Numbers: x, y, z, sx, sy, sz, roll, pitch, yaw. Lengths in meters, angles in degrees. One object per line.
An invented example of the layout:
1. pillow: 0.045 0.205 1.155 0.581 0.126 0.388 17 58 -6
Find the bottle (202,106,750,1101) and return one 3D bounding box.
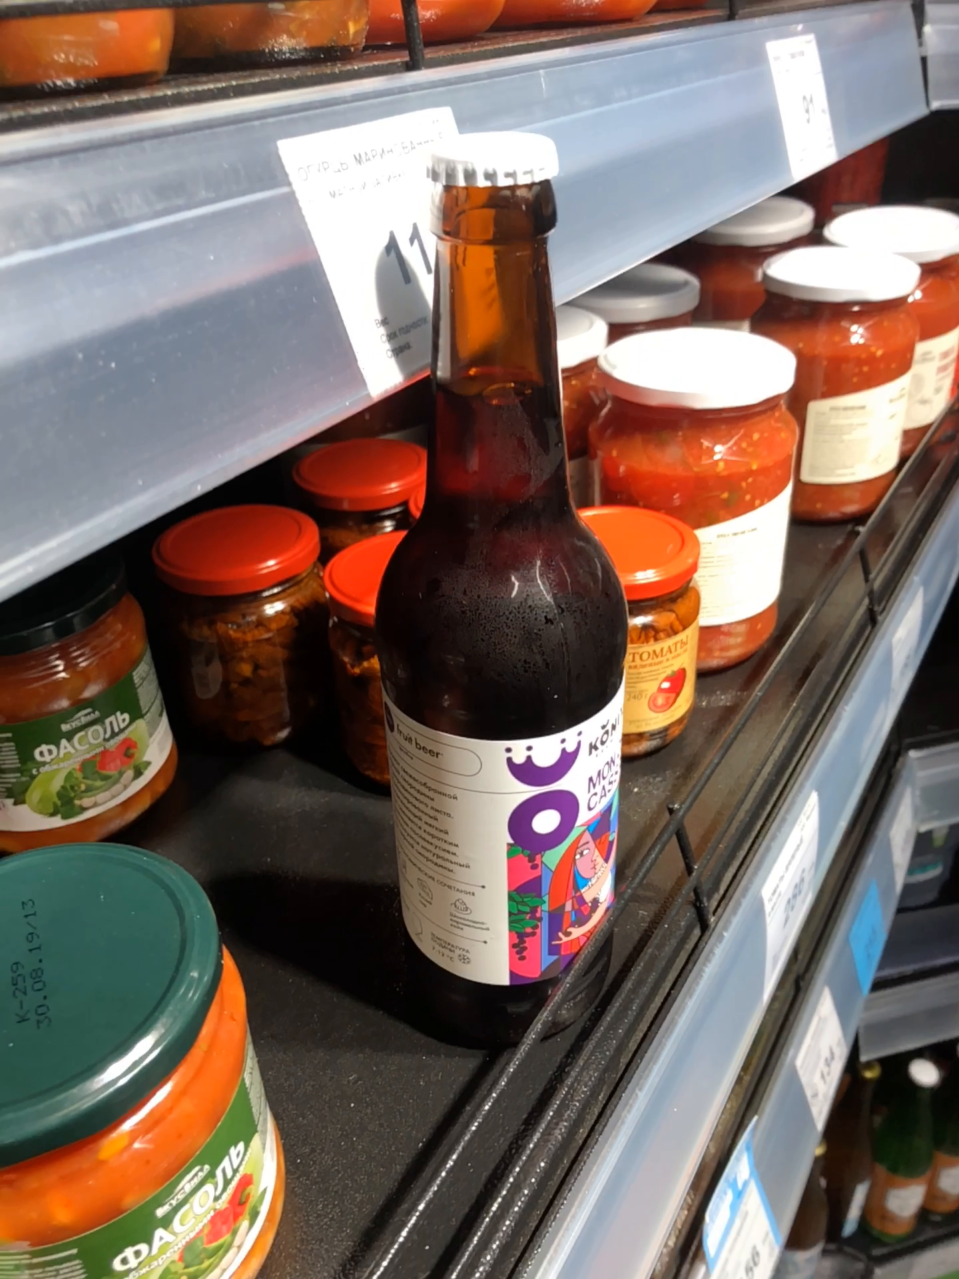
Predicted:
1. bottle: 0.002 -0.002 0.282 0.080 0.239 0.080 -1 32 1
